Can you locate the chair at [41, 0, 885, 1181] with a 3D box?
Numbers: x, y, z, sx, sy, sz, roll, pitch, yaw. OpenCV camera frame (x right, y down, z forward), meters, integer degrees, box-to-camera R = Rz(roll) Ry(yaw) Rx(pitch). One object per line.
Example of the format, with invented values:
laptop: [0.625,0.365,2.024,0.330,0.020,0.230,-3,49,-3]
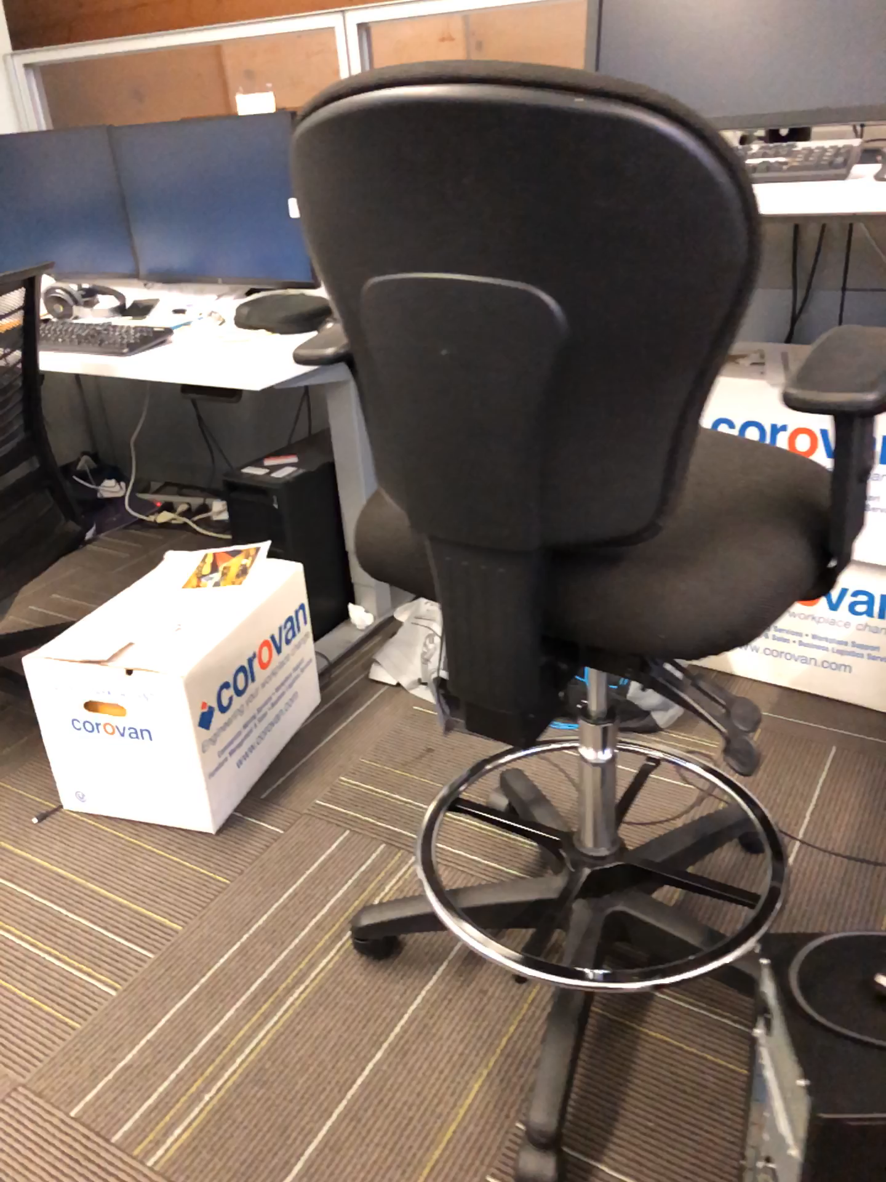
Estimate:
chair: [0.175,0.003,1.141,0.641,1.134,0.733,14,31,33]
